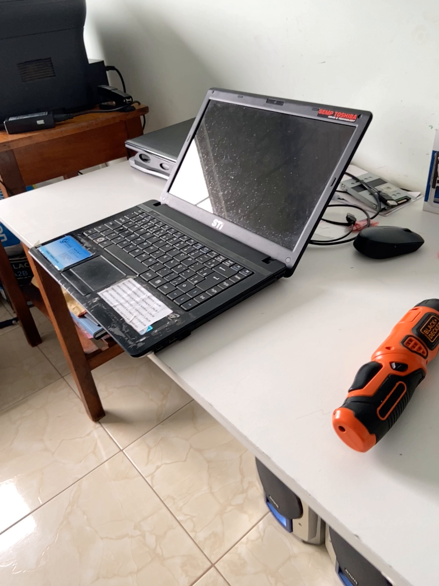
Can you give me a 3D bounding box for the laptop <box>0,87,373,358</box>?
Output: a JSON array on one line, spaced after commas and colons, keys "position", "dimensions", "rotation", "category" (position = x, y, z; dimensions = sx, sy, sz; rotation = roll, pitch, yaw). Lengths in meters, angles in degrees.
[{"position": [-0.054, -0.147, 0.632], "dimensions": [0.385, 0.159, 0.336], "rotation": [-29, 40, -27], "category": "laptop"}]
